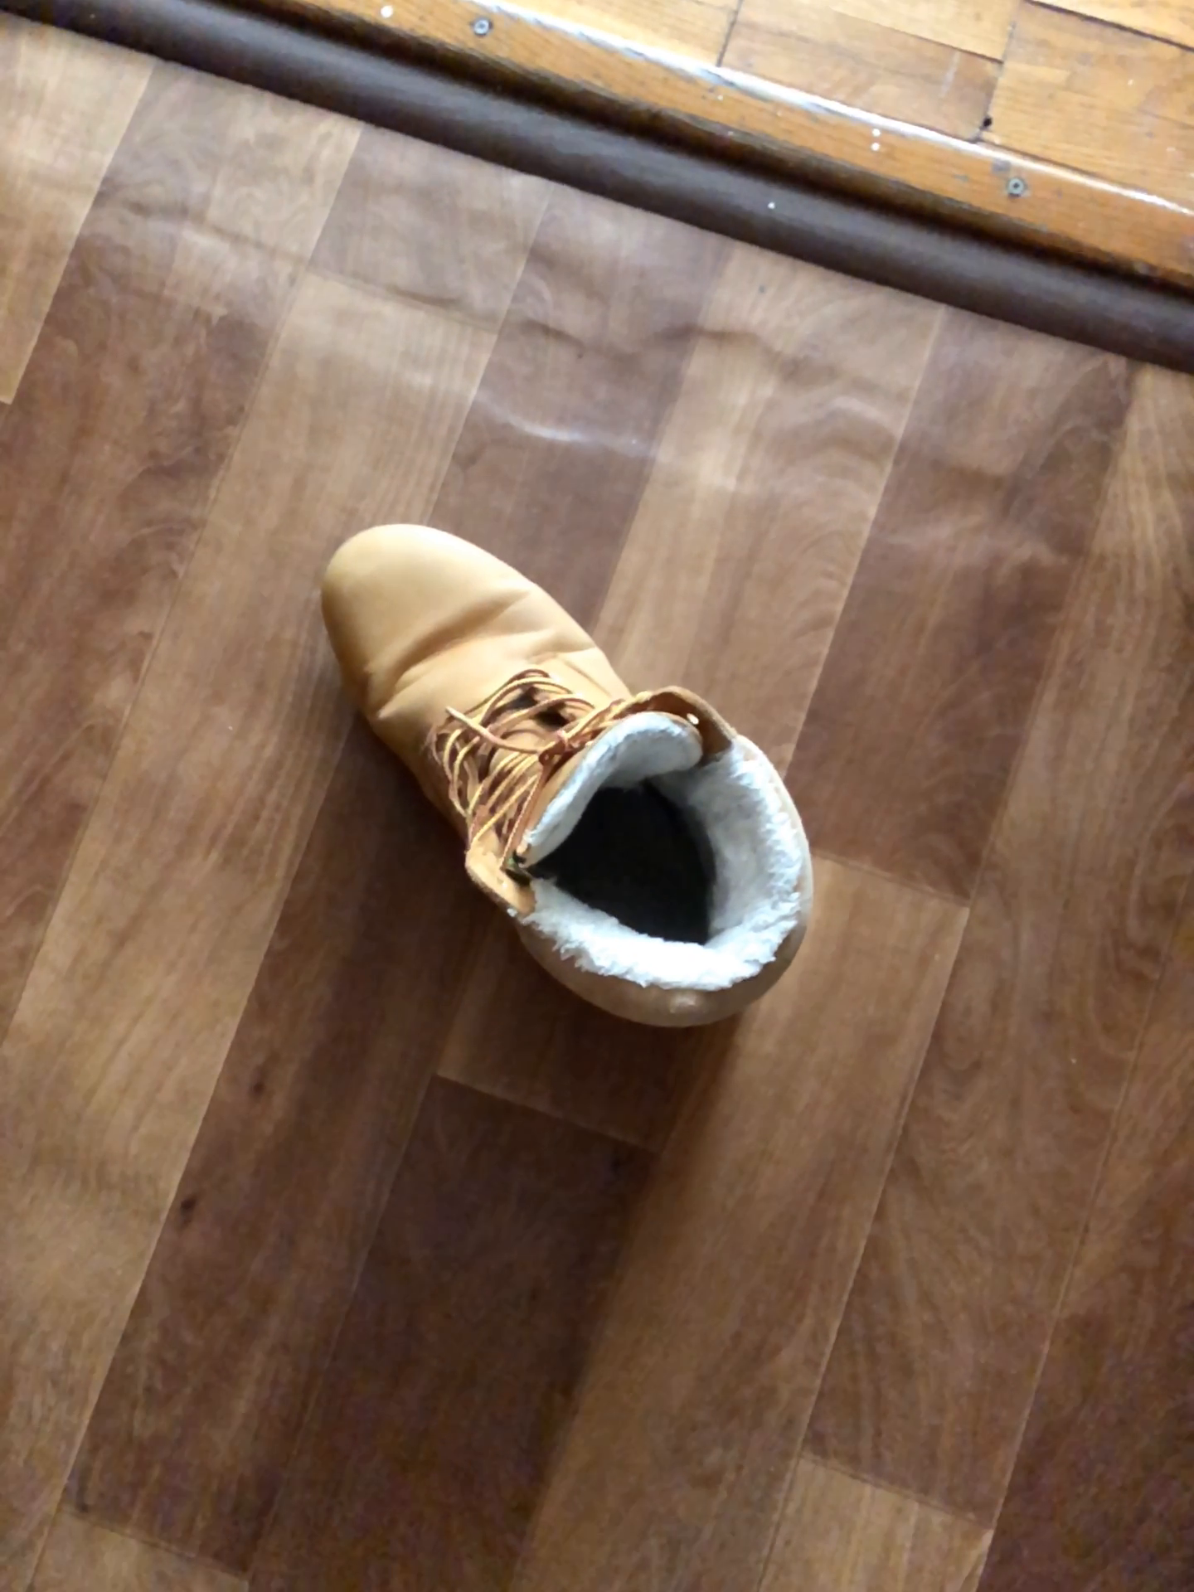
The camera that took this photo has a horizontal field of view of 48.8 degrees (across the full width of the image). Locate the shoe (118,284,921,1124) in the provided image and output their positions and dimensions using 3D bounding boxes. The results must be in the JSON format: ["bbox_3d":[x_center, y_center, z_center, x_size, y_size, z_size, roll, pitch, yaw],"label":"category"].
[{"bbox_3d":[-0.029,-0.028,0.549,0.120,0.180,0.290,-41,85,-4],"label":"shoe"}]
